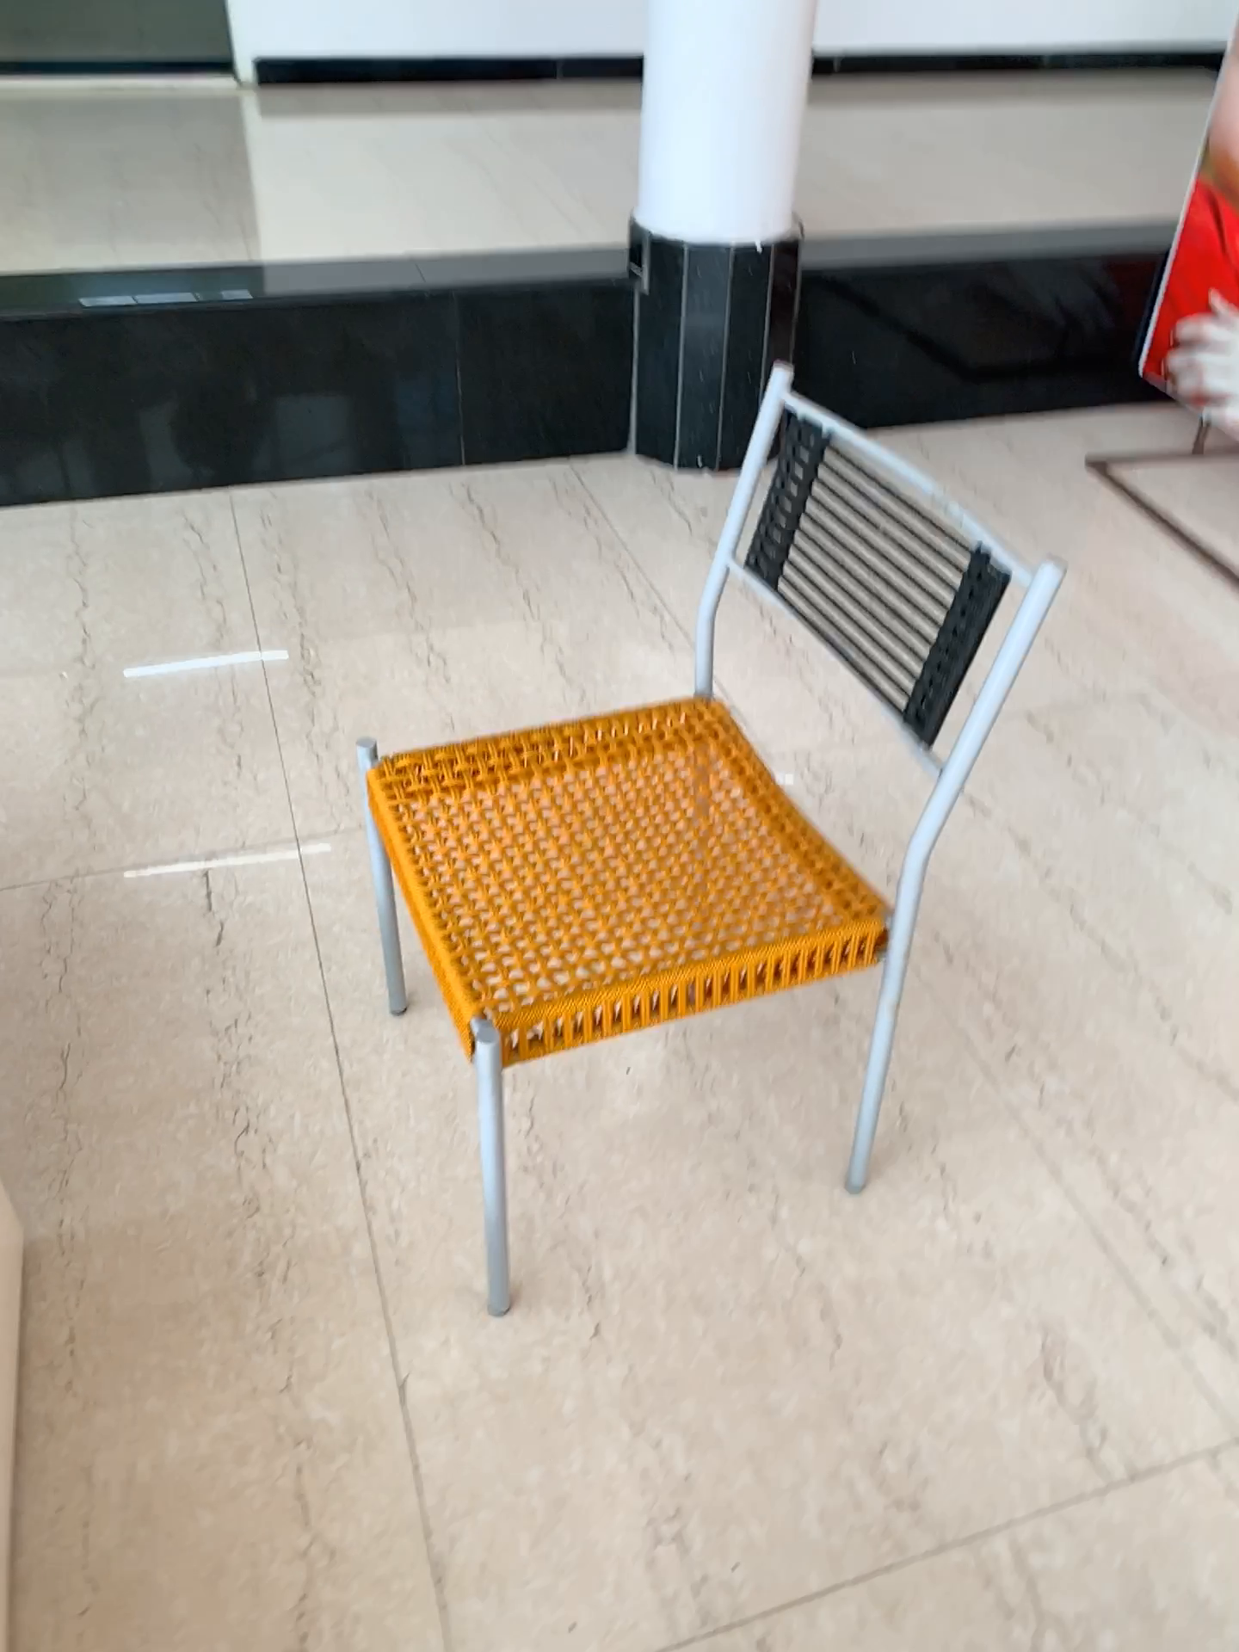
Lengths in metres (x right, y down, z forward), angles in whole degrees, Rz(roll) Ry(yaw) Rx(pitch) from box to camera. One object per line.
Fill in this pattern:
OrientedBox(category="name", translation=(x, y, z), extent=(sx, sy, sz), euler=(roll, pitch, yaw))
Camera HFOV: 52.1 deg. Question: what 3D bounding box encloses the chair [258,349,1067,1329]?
OrientedBox(category="chair", translation=(-0.013, -0.001, 1.296), extent=(0.520, 0.744, 0.534), euler=(-12, 41, -17))
